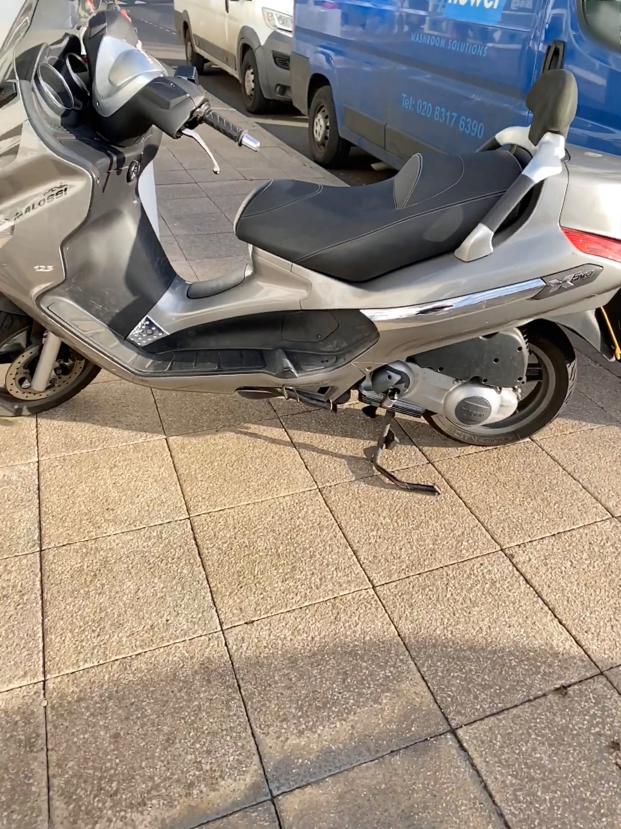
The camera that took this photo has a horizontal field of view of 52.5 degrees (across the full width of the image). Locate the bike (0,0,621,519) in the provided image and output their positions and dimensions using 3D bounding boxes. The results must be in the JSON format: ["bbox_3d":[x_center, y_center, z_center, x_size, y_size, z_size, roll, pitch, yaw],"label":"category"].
[{"bbox_3d":[-0.092,-0.365,1.550,1.653,1.062,0.658,1,34,-2],"label":"bike"}]
